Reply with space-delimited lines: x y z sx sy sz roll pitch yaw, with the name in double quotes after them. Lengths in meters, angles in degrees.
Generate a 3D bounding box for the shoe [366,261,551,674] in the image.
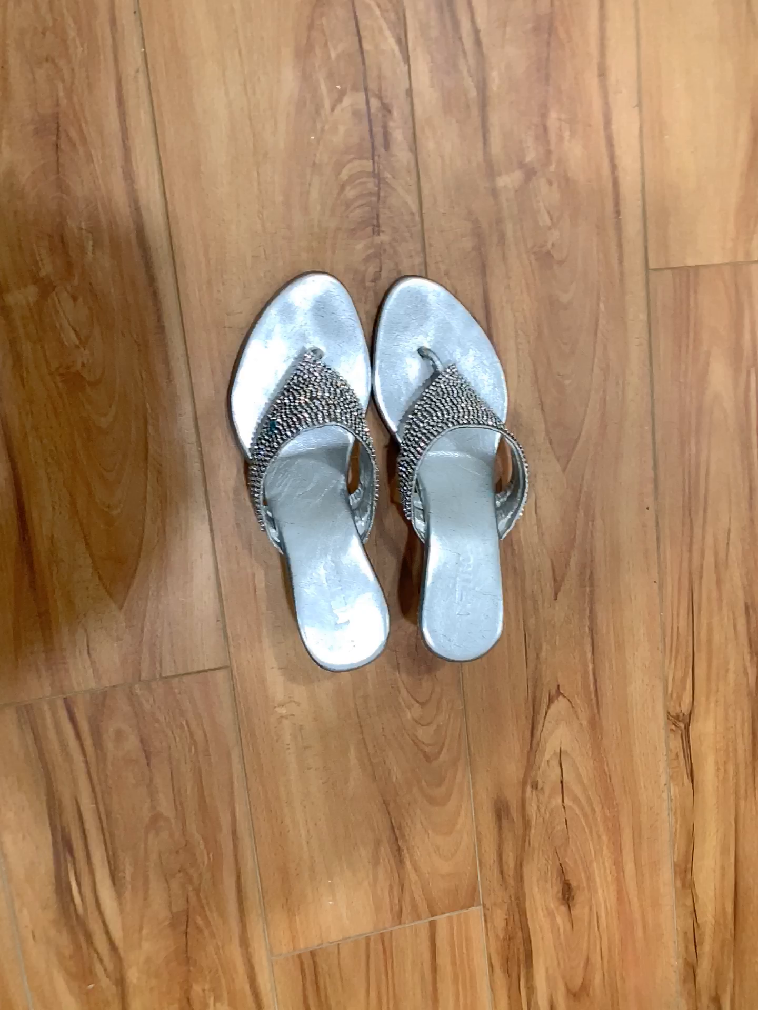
0.047 -0.024 0.472 0.085 0.073 0.228 -5 99 -12 "shoe"

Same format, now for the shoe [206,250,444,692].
-0.033 -0.021 0.456 0.095 0.073 0.228 -11 100 -11 "shoe"
